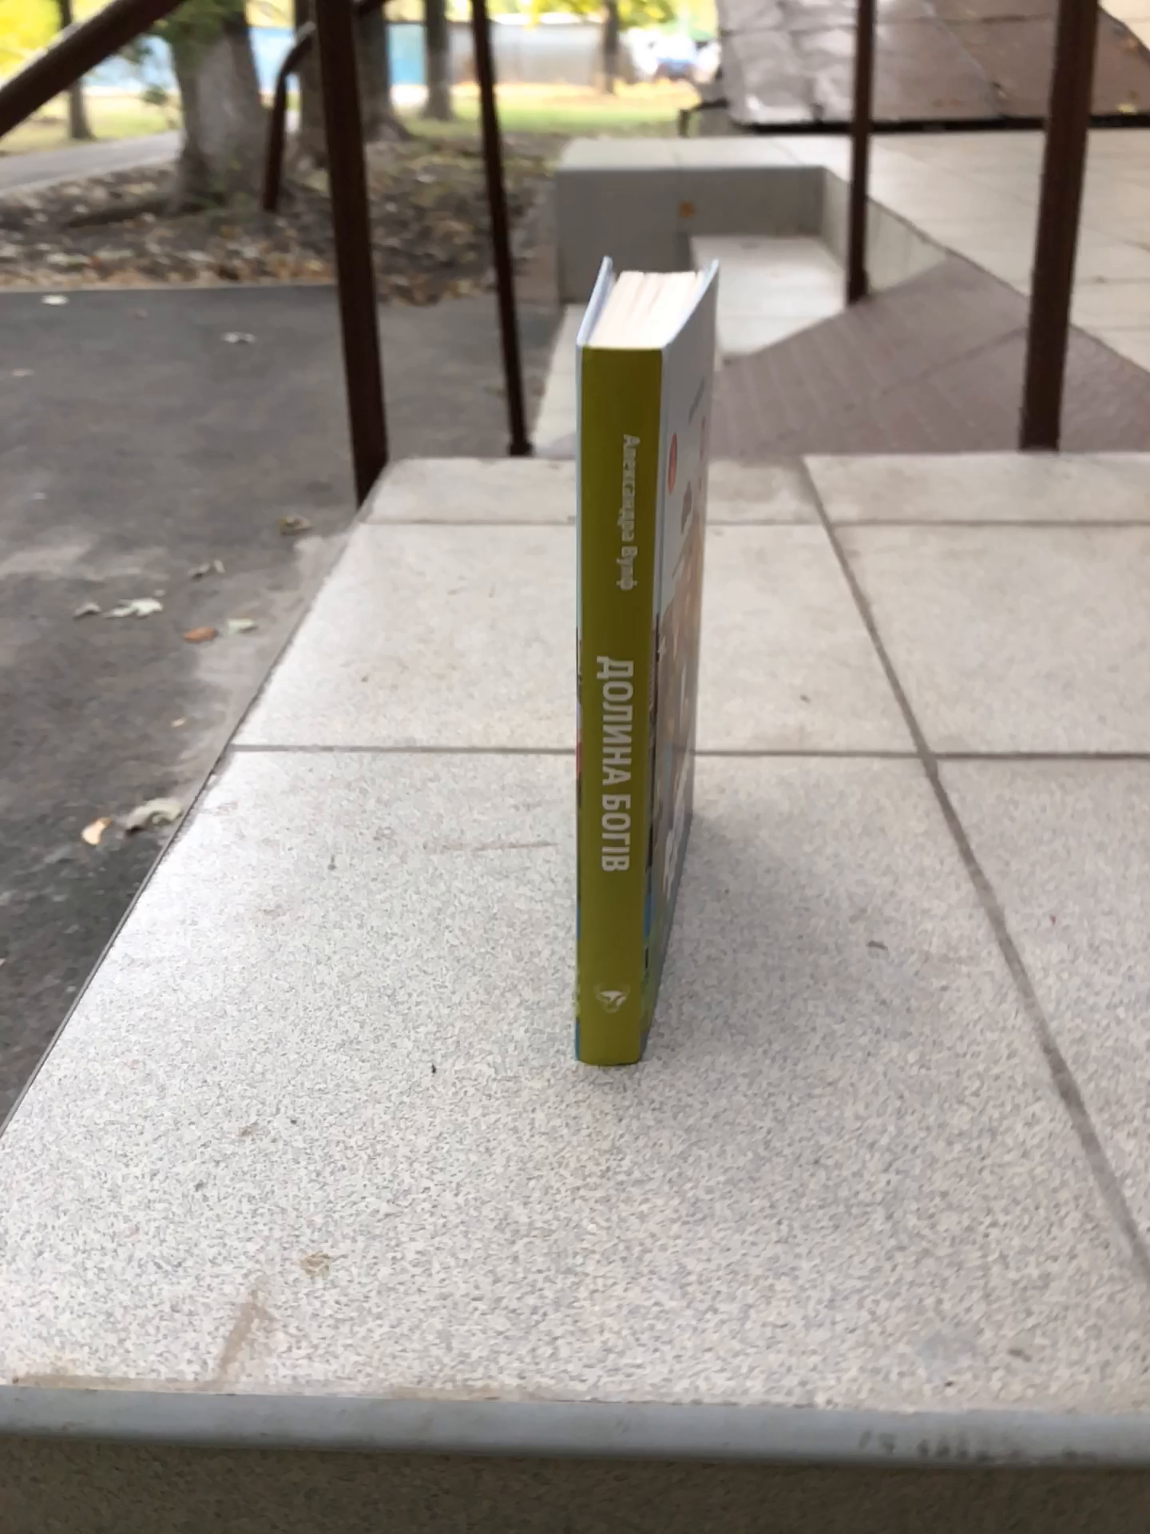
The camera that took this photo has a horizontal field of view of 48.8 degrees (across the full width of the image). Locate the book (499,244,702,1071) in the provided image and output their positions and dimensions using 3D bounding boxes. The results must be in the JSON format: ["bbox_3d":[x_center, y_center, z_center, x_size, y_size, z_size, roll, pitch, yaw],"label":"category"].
[{"bbox_3d":[0.015,-0.041,0.396,0.044,0.208,0.161,0,29,5],"label":"book"}]
